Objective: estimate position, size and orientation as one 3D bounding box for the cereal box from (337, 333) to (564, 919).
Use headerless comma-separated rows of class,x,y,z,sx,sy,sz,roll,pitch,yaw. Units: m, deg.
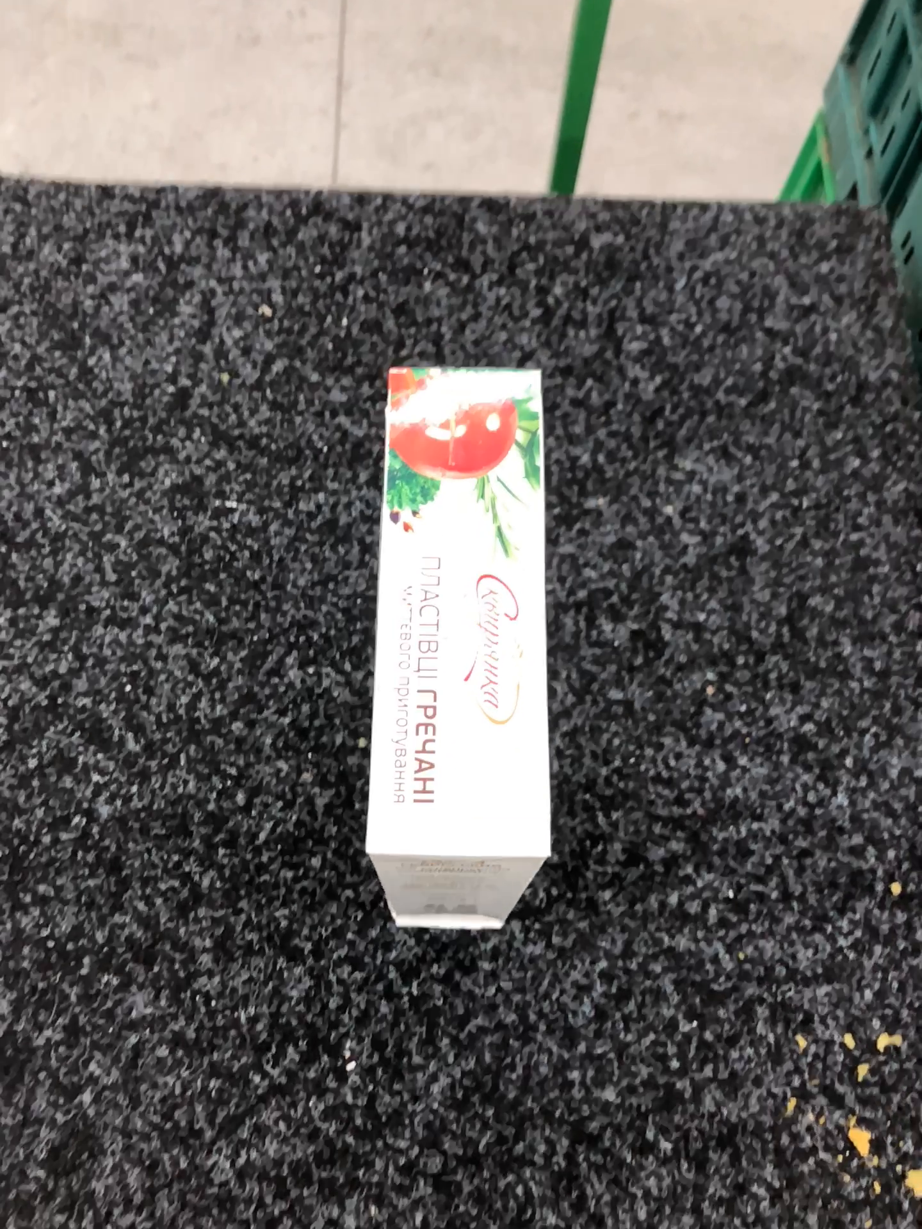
cereal box,-0.004,0.028,0.411,0.060,0.239,0.161,2,68,-1
